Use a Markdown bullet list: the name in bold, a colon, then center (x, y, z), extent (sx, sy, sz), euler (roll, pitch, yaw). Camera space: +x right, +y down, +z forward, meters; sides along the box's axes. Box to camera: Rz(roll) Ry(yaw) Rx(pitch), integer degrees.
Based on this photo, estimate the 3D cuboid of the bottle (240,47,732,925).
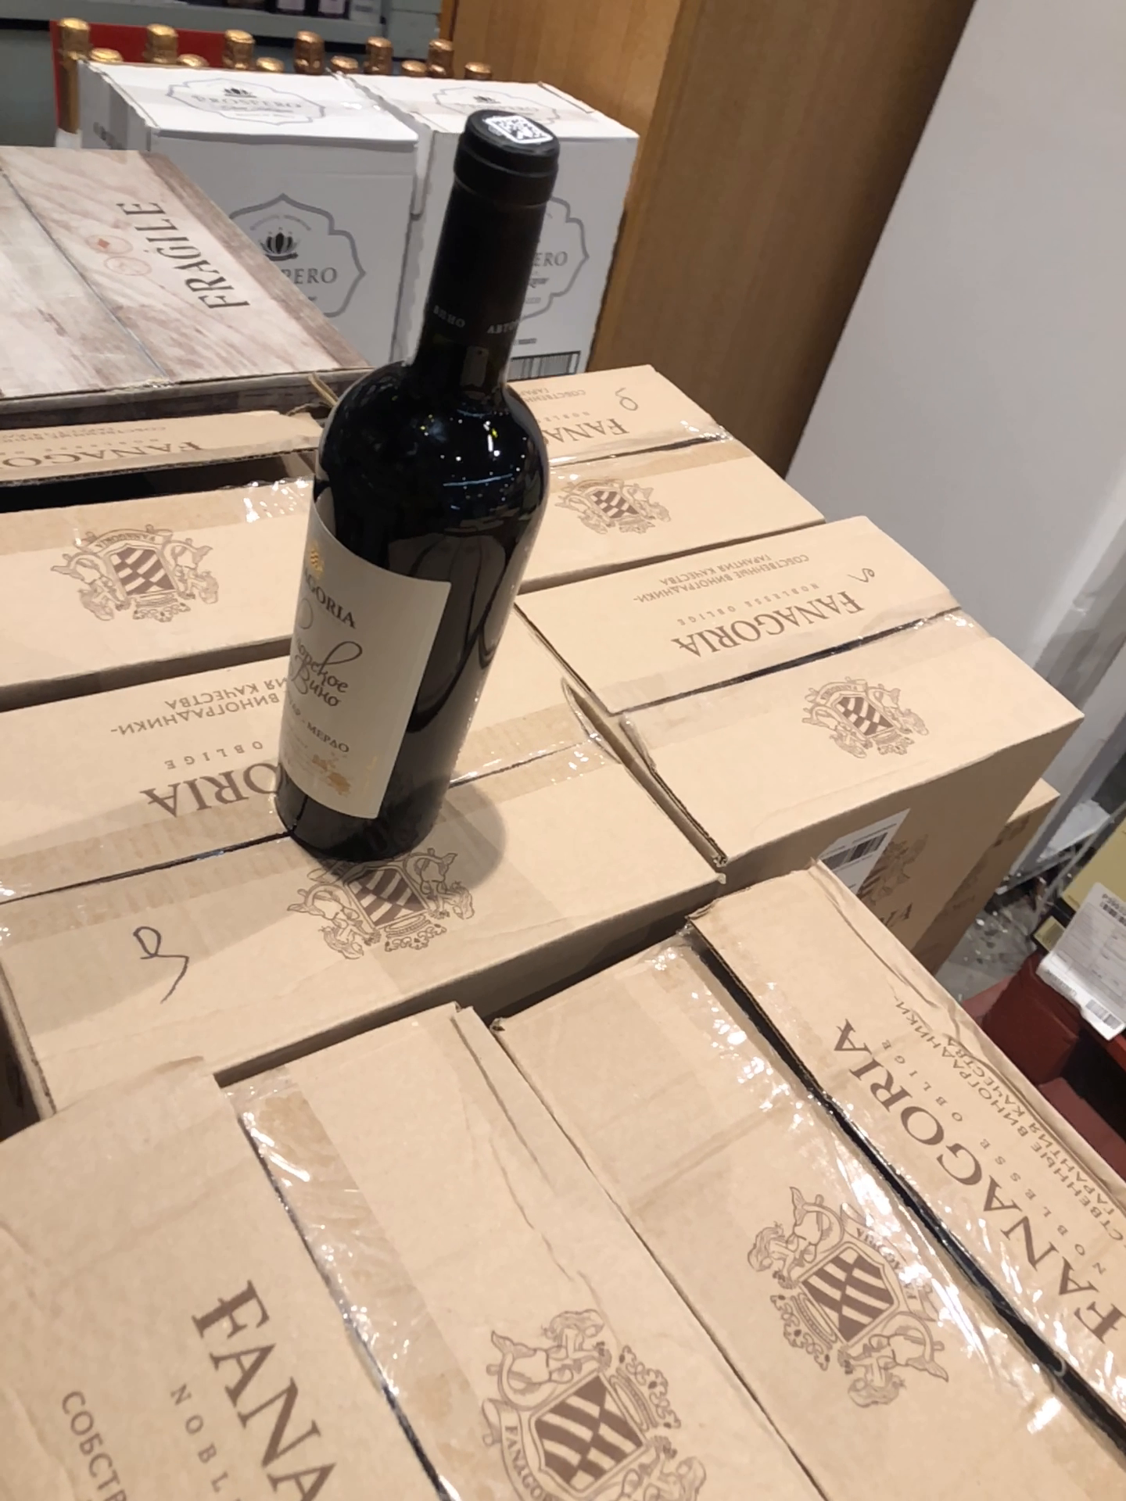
- **bottle**: center (-0.051, -0.076, 0.469), extent (0.090, 0.308, 0.100), euler (-11, 50, -30)
